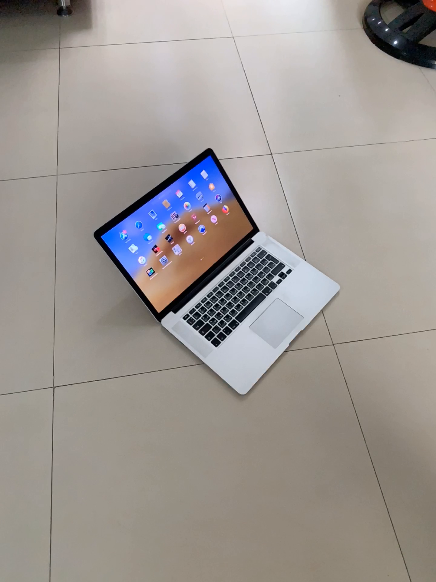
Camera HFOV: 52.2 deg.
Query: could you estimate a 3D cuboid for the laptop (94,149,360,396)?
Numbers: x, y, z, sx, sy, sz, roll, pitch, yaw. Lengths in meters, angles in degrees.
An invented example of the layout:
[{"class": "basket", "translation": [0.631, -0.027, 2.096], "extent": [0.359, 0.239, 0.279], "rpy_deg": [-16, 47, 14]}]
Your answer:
[{"class": "laptop", "translation": [0.017, -0.061, 0.973], "extent": [0.415, 0.162, 0.353], "rpy_deg": [38, 64, 19]}]
